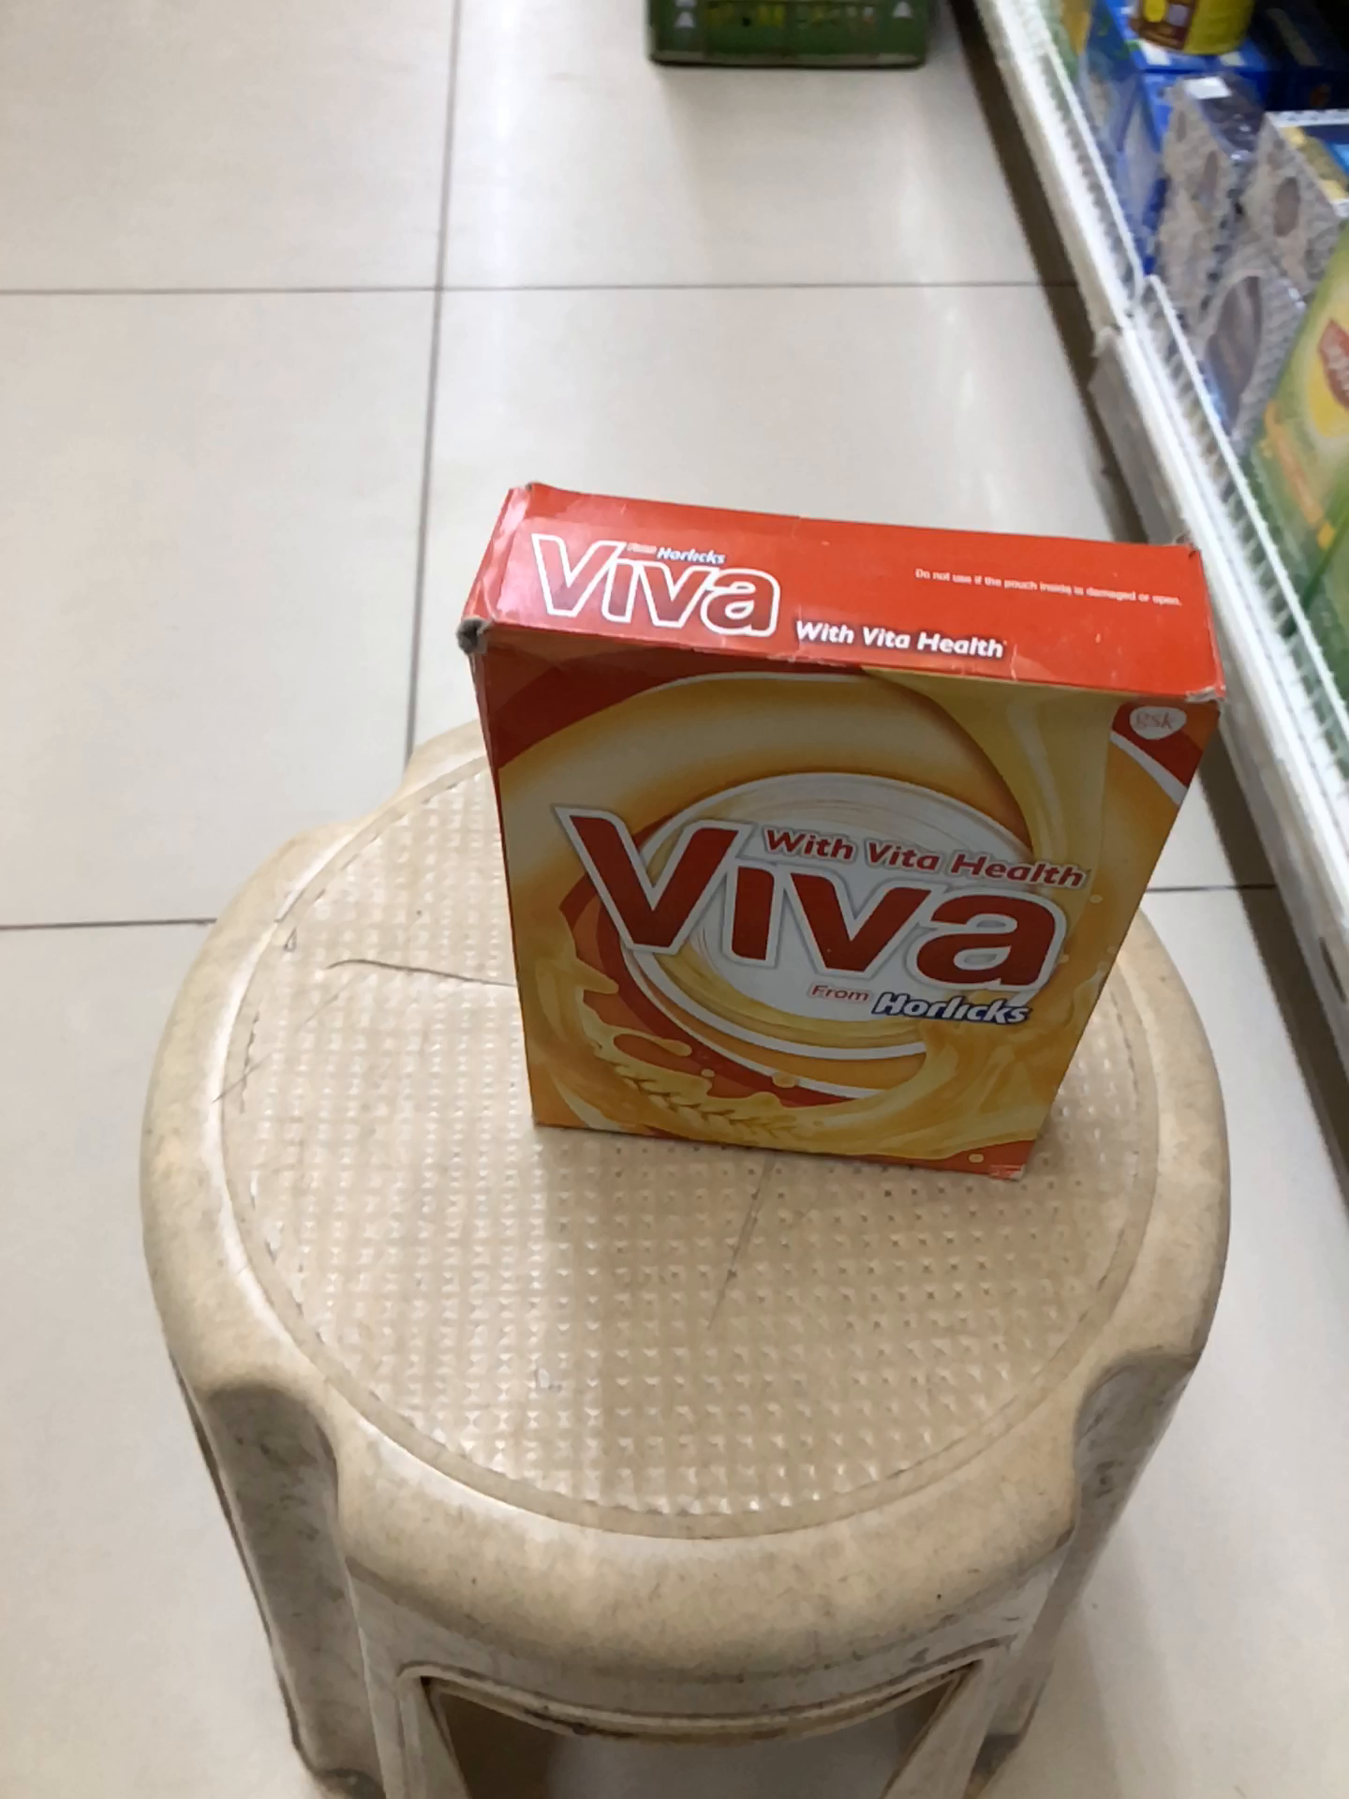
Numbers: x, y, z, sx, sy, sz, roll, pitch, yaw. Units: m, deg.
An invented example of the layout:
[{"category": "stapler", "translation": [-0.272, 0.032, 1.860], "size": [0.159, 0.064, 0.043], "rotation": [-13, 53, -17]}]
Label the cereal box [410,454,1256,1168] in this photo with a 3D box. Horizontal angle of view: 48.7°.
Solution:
[{"category": "cereal box", "translation": [0.030, -0.008, 0.377], "size": [0.160, 0.199, 0.050], "rotation": [5, 54, 3]}]
